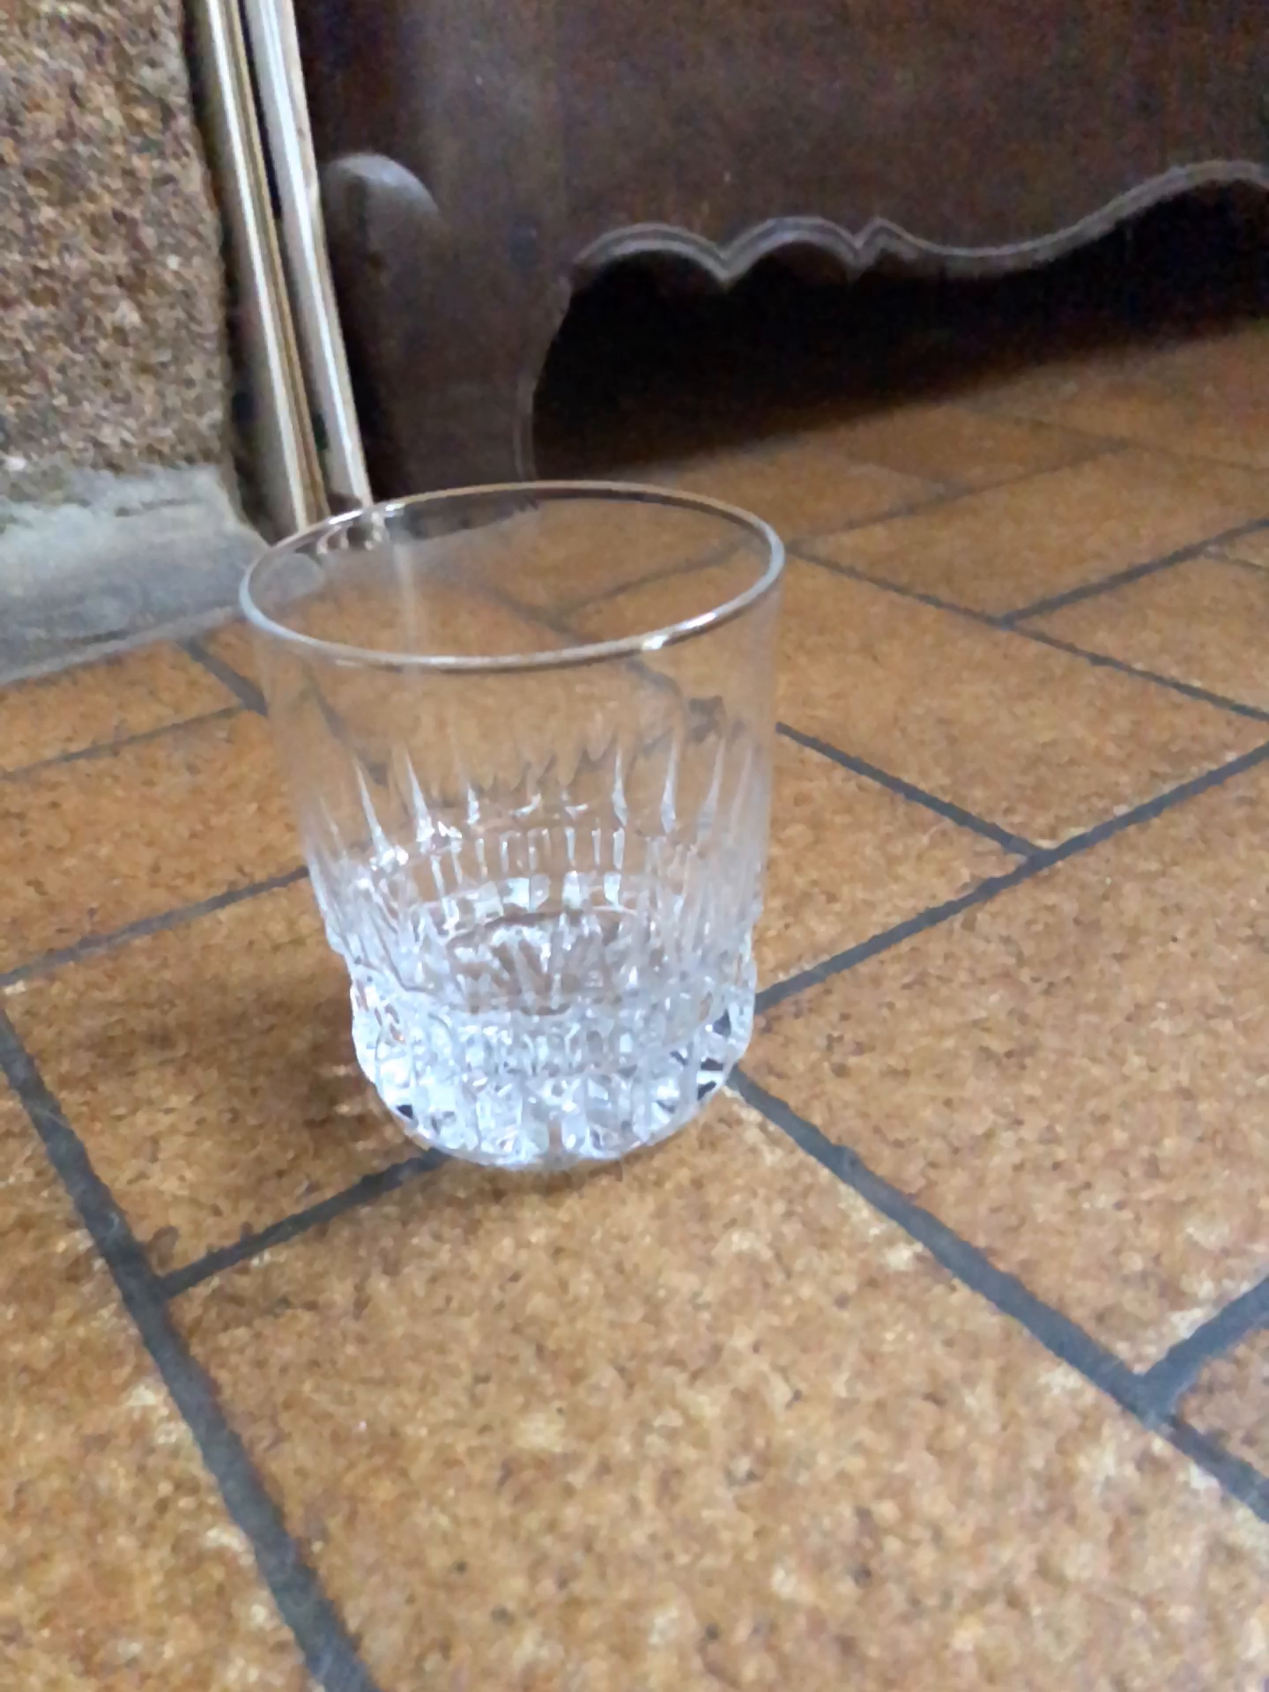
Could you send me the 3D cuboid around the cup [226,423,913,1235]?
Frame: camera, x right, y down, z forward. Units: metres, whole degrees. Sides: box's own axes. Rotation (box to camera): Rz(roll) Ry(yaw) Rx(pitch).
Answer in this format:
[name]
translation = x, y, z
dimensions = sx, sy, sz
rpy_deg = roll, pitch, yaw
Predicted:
[cup]
translation = -0.013, -0.009, 0.224
dimensions = 0.080, 0.089, 0.080
rpy_deg = -2, 29, 1
